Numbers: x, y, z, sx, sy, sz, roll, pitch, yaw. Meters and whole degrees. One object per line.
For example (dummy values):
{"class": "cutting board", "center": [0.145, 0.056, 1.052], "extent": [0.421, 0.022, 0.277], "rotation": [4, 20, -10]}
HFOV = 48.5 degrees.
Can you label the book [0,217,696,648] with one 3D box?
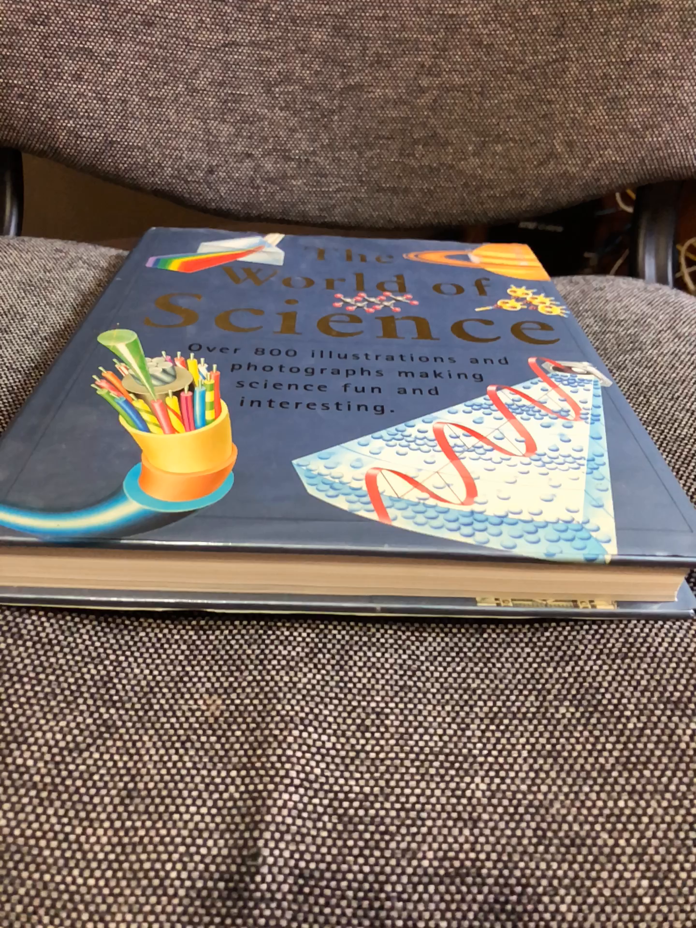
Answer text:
{"class": "book", "center": [-0.007, -0.041, 0.326], "extent": [0.220, 0.030, 0.277], "rotation": [2, 35, -4]}
